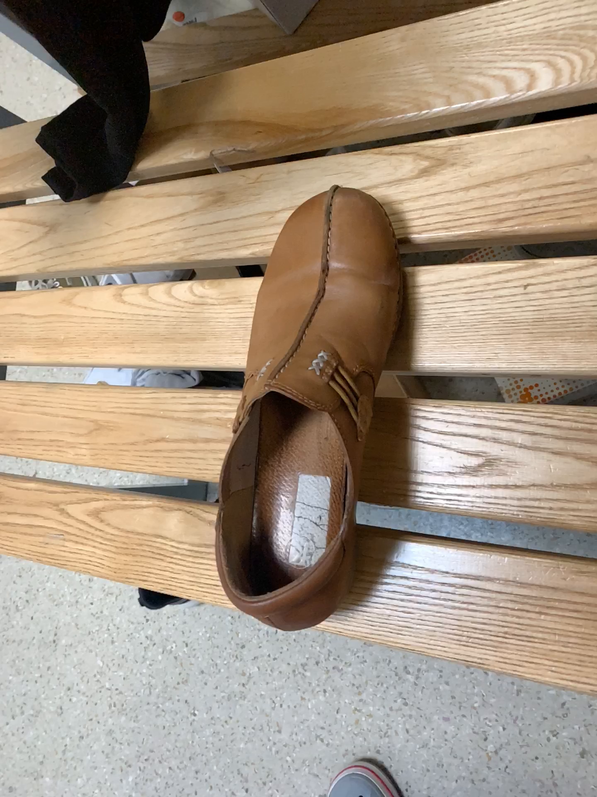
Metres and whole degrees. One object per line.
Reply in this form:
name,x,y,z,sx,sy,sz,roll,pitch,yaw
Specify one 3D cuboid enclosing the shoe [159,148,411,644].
shoe,-0.003,-0.002,0.363,0.112,0.085,0.245,0,83,28
